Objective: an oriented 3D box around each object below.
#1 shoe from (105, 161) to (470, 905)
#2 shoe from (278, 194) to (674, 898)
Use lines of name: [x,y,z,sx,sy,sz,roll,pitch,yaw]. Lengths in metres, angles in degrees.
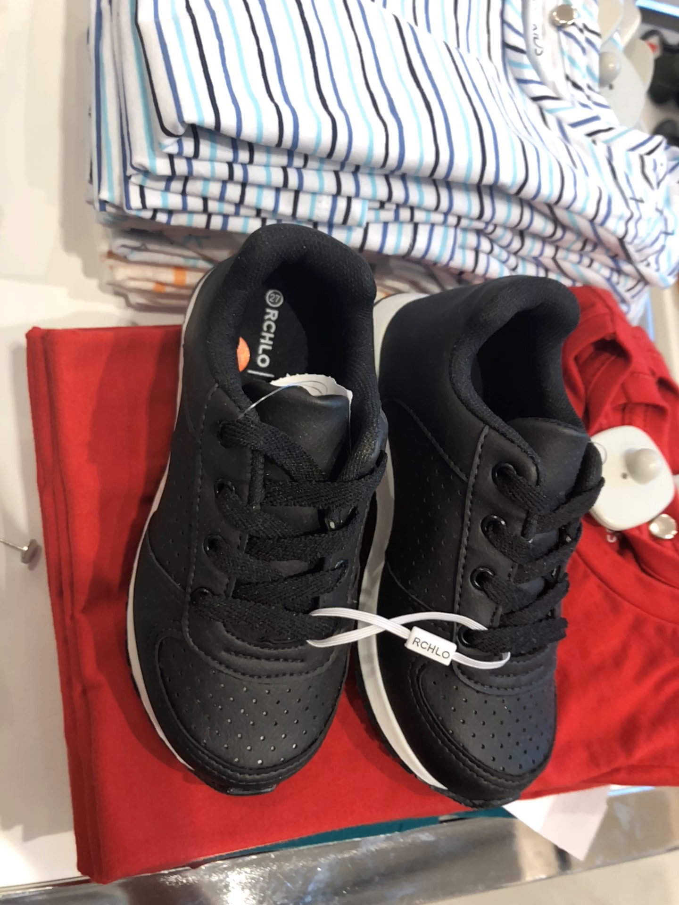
shoe: [-0.017,0.022,0.236,0.080,0.080,0.180,6,80,-28]
shoe: [0.039,0.027,0.263,0.080,0.086,0.190,2,79,-32]
